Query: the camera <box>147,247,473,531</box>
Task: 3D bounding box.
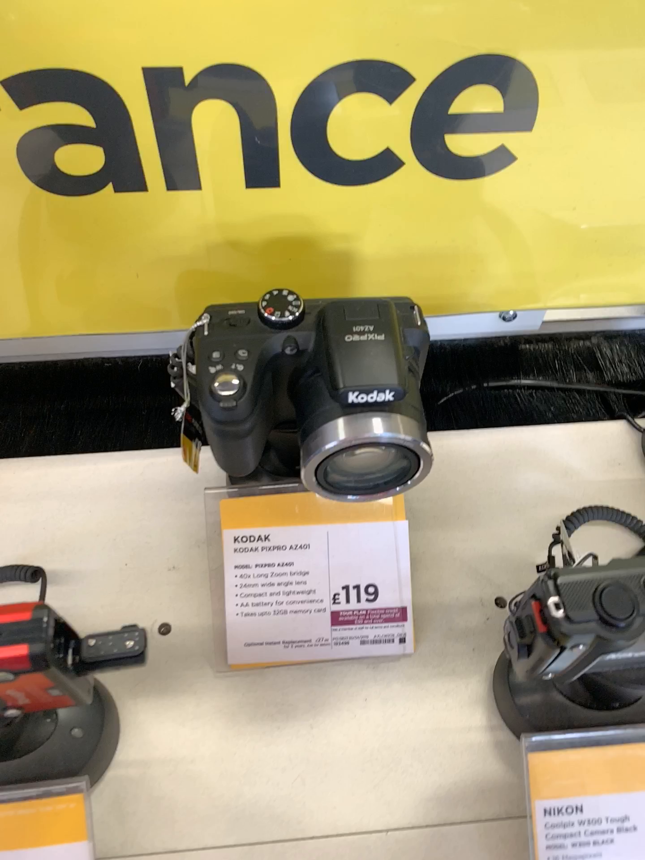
[{"bbox_3d":[-0.009,-0.018,0.329,0.130,0.099,0.091,-4,56,-4],"label":"camera"}]
